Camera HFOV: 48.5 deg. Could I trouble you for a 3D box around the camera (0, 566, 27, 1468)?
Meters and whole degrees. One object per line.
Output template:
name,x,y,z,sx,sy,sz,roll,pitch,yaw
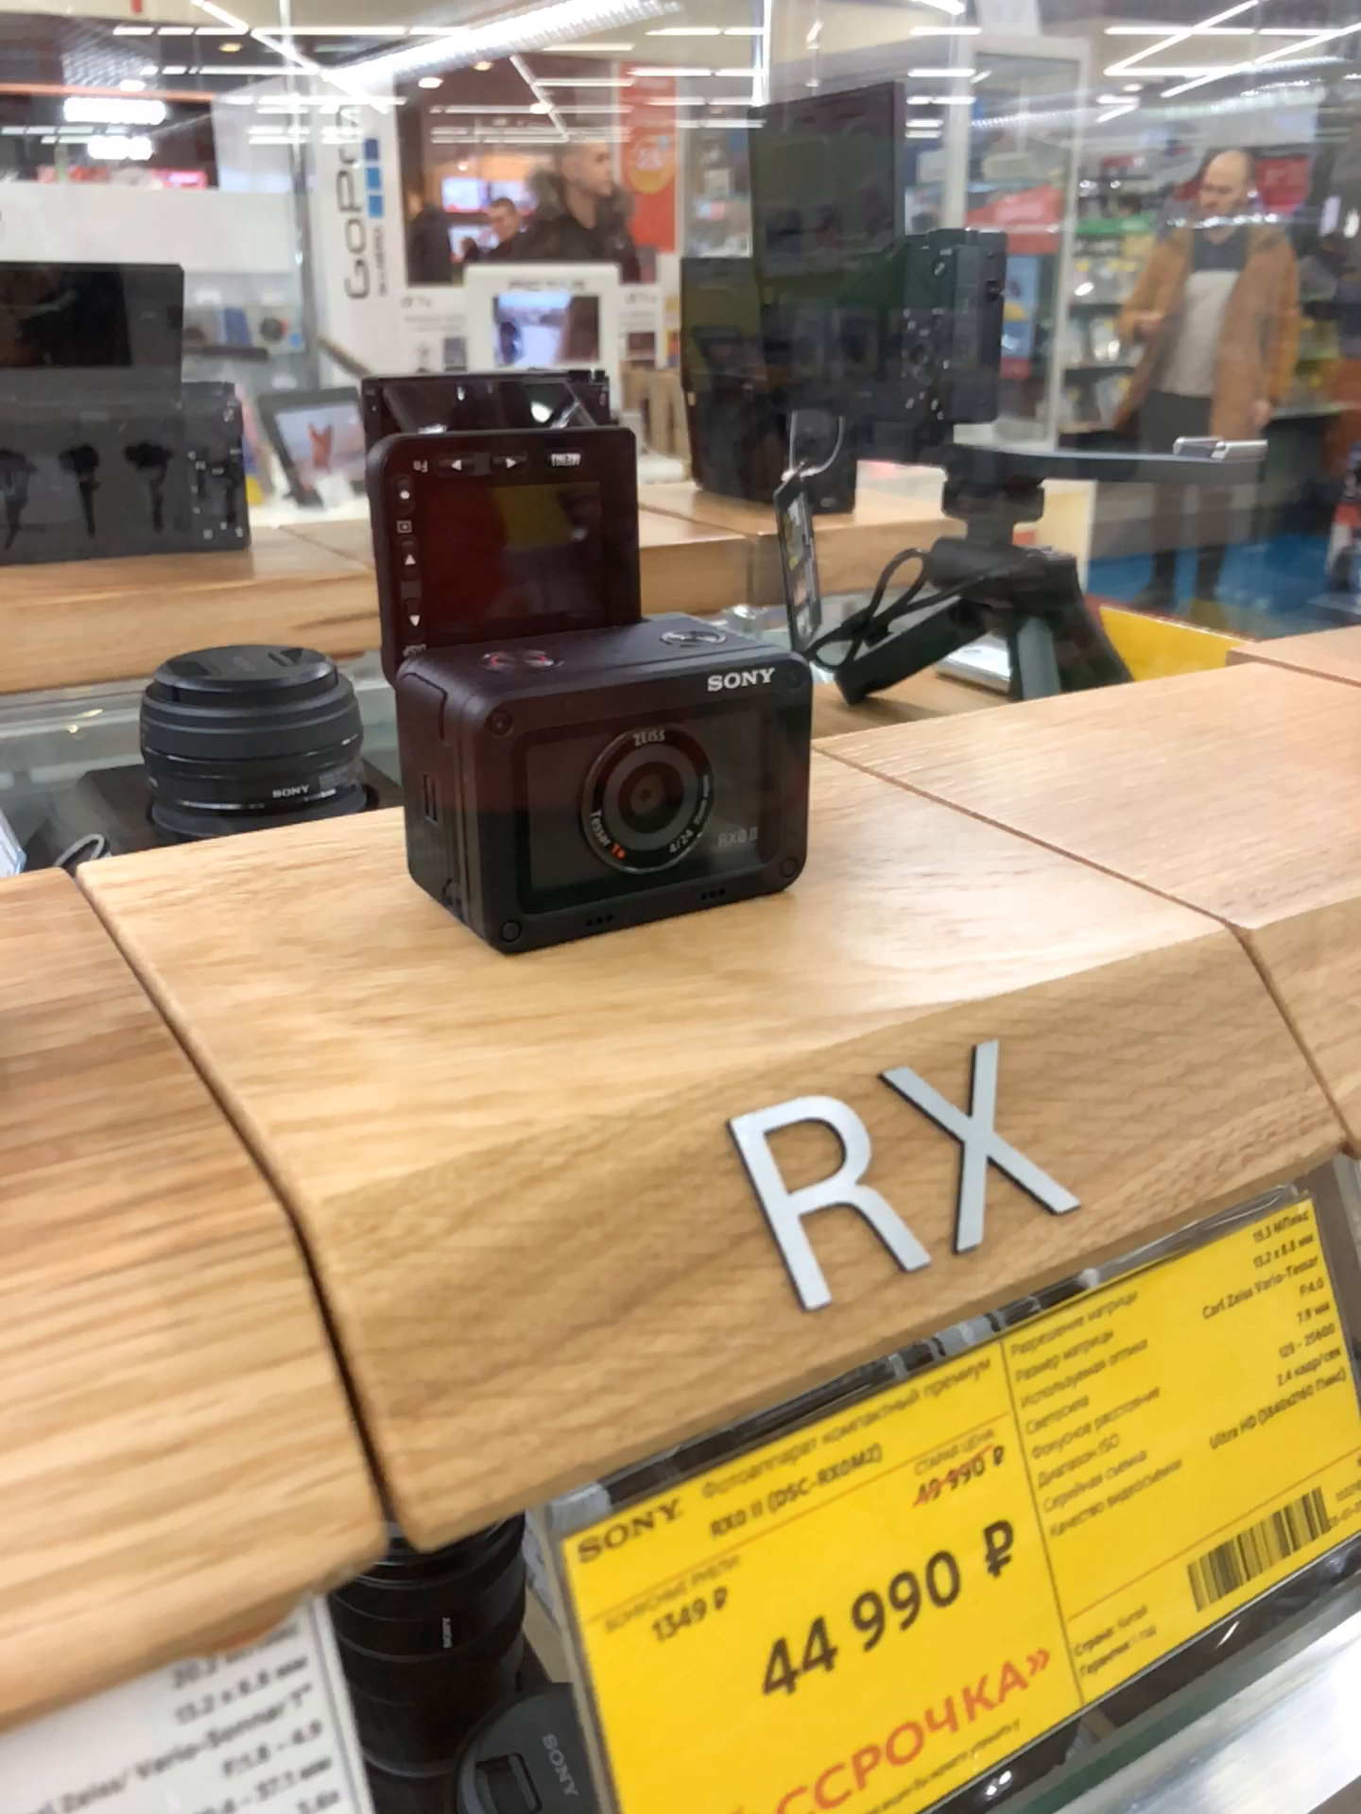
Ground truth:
camera,-0.138,0.004,0.168,0.105,0.067,0.041,-13,26,-29

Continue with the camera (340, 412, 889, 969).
camera,-0.010,-0.037,0.229,0.062,0.067,0.050,-13,26,-29
